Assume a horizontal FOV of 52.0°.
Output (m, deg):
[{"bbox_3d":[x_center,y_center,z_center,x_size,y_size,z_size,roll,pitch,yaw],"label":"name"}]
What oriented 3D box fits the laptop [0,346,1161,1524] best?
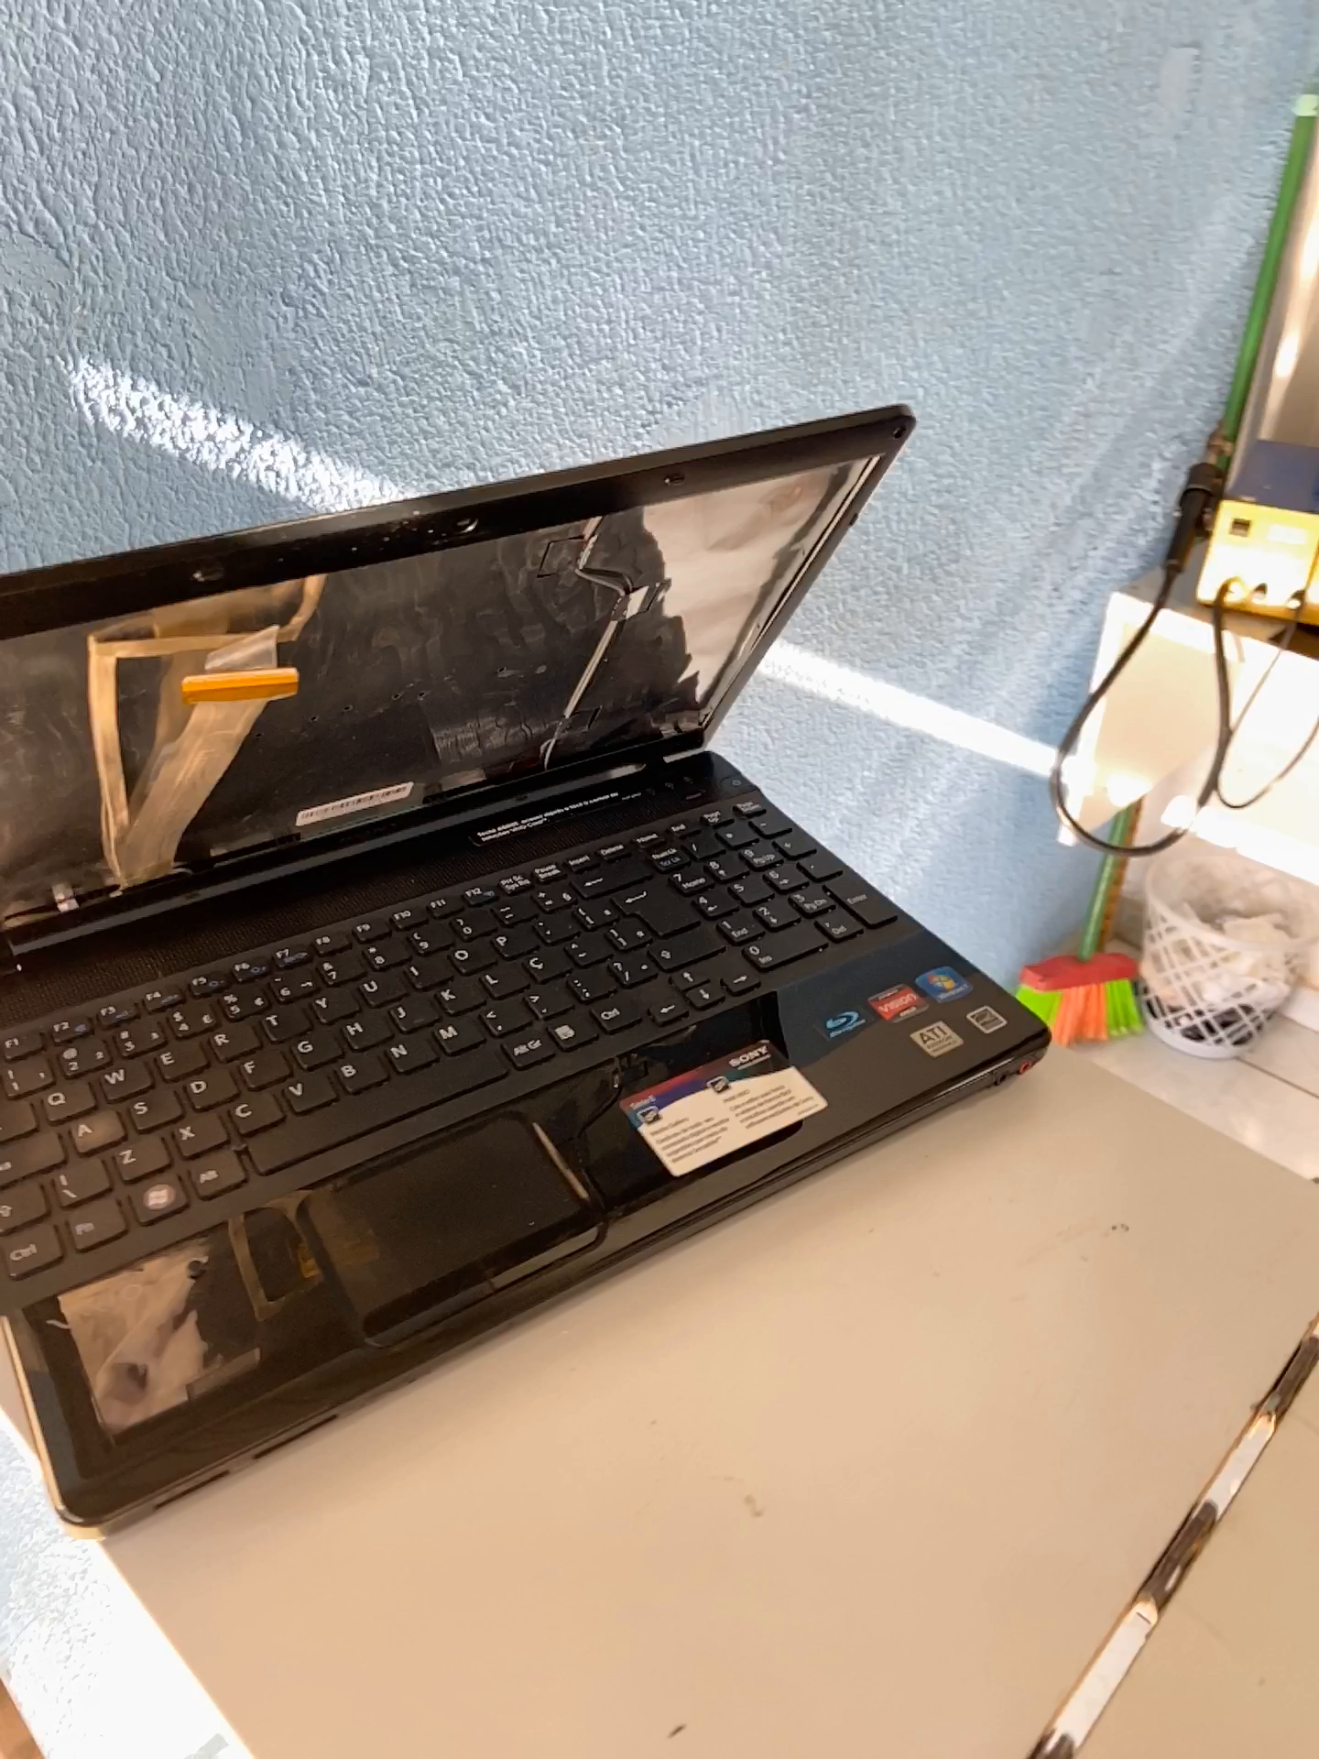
[{"bbox_3d":[-0.065,-0.028,0.465,0.365,0.193,0.242,-19,40,-26],"label":"laptop"}]
